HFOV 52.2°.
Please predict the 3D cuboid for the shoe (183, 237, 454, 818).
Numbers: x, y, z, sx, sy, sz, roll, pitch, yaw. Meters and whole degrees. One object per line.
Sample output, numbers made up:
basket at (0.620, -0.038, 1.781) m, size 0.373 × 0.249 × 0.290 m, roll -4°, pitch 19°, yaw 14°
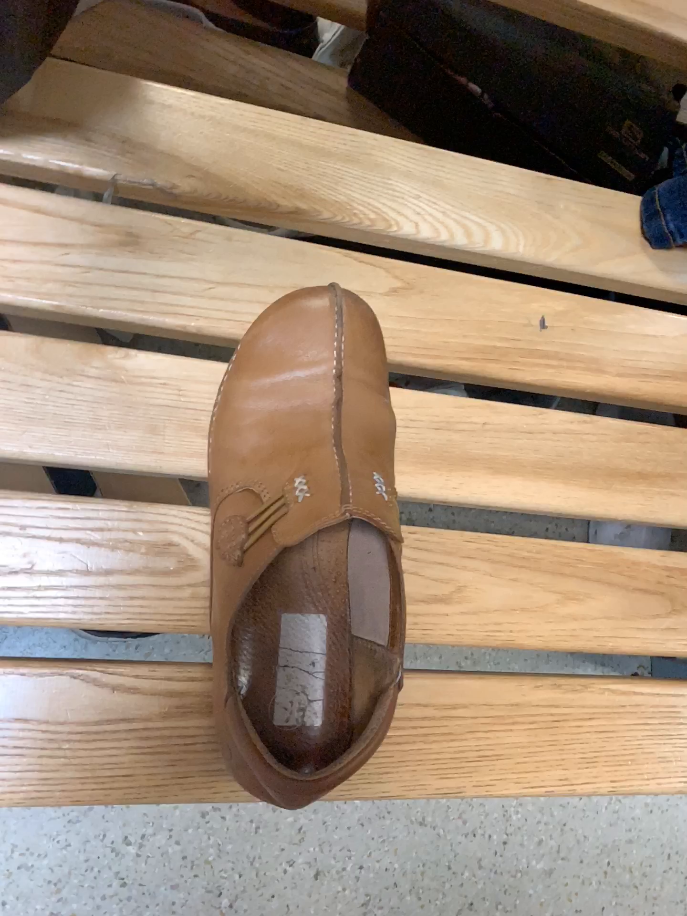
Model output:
shoe at (-0.014, 0.031, 0.351) m, size 0.112 × 0.085 × 0.245 m, roll 4°, pitch 80°, yaw -15°
